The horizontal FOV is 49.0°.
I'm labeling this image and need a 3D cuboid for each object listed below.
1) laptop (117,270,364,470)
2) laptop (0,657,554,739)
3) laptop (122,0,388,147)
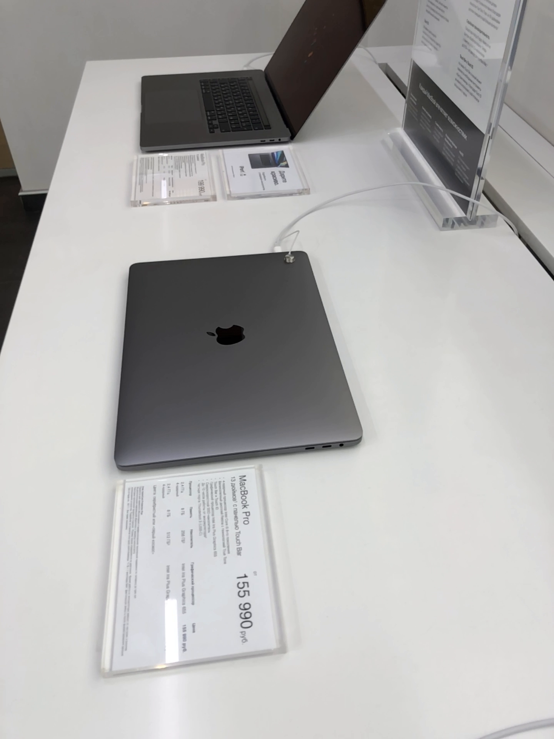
[{"bbox_3d":[-0.044,-0.018,0.601,0.202,0.001,0.280,-5,40,-4],"label":"laptop"},{"bbox_3d":[0.064,0.286,0.113,0.276,0.187,0.310,-9,44,-7],"label":"laptop"},{"bbox_3d":[-0.052,-0.563,1.050,0.379,0.190,0.350,-7,42,-5],"label":"laptop"}]
